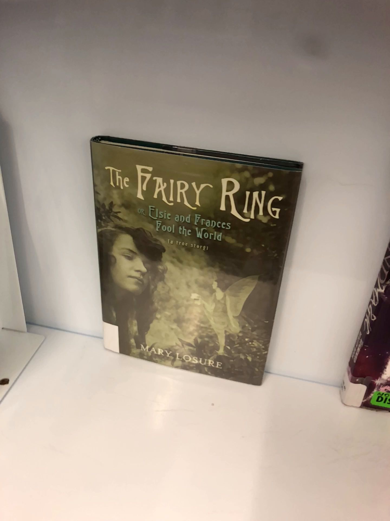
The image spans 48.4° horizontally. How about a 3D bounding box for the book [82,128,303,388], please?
[{"bbox_3d":[-0.009,0.004,0.342,0.150,0.190,0.028,10,29,10],"label":"book"}]
